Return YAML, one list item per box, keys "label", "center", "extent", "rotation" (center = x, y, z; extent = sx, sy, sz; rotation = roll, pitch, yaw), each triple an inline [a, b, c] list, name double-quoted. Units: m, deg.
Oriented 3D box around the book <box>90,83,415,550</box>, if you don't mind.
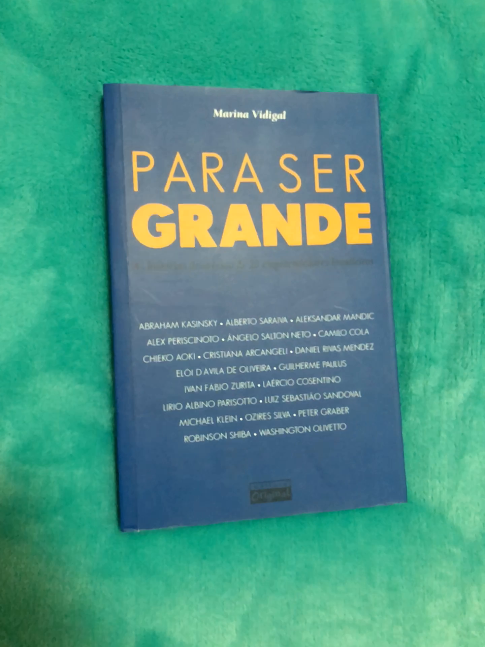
- label: "book"
  center: [0.005, -0.006, 0.256]
  extent: [0.140, 0.030, 0.200]
  rotation: [-2, 89, -9]
